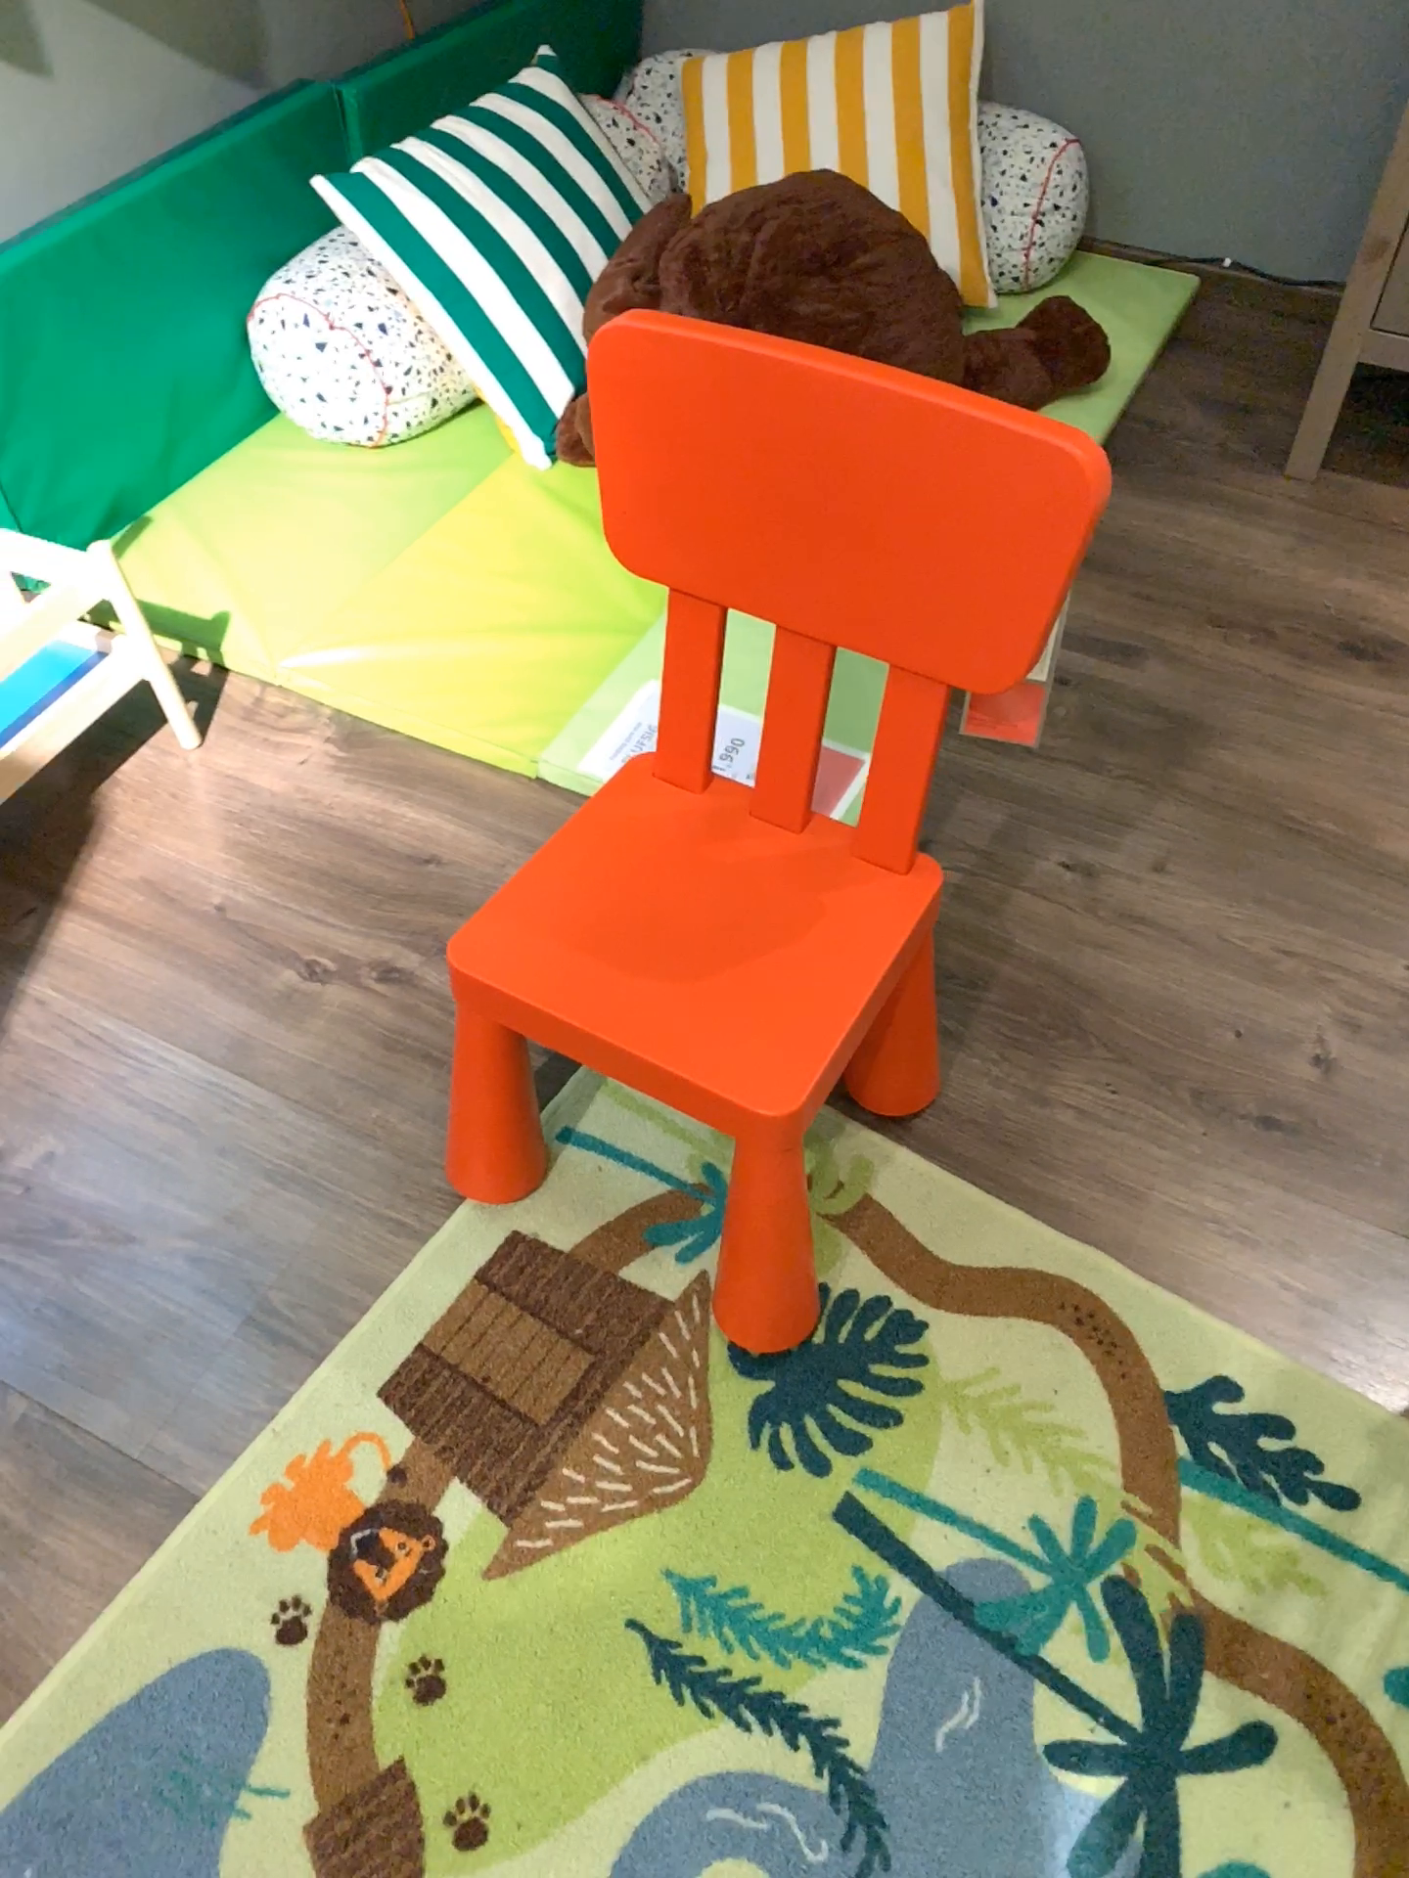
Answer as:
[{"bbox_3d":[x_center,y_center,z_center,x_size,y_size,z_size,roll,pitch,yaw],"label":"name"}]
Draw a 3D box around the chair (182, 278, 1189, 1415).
[{"bbox_3d":[0.013,-0.067,1.104,0.430,0.598,0.491,23,53,19],"label":"chair"}]
